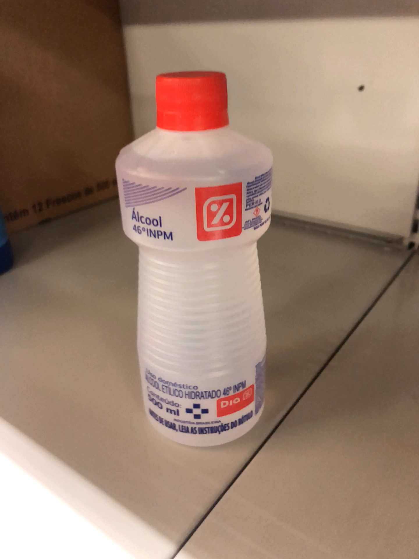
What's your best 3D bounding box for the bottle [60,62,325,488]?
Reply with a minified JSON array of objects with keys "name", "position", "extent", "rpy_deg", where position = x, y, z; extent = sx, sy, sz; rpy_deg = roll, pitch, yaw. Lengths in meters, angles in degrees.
[{"name":"bottle","position":[0.002,-0.004,0.231],"extent":[0.080,0.179,0.081],"rpy_deg":[-2,27,1]}]
